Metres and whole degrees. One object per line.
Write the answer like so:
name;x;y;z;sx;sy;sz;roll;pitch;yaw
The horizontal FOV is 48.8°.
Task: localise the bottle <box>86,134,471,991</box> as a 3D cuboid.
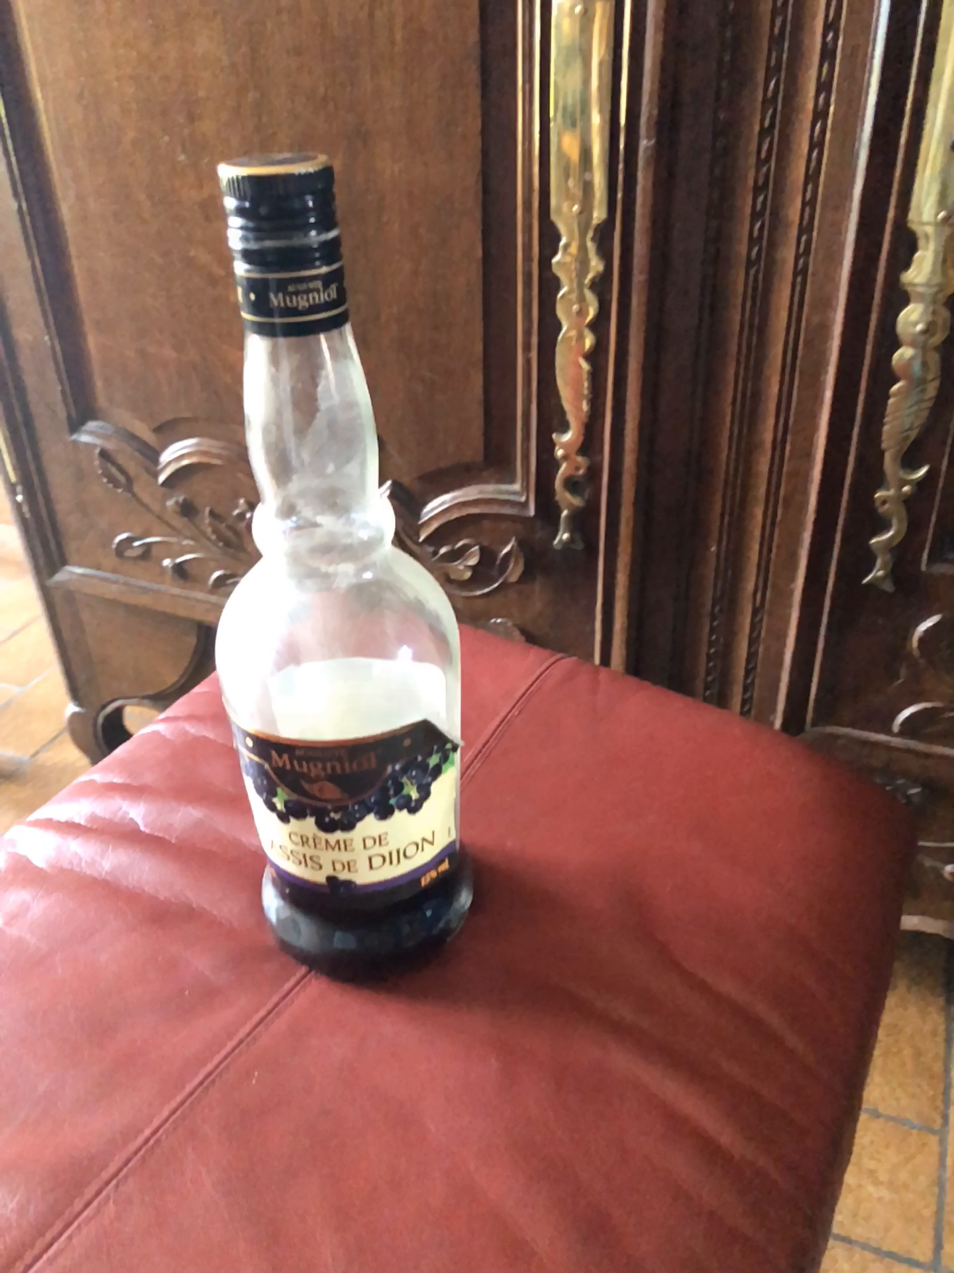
bottle;-0.047;-0.009;0.353;0.080;0.278;0.080;-2;31;1
